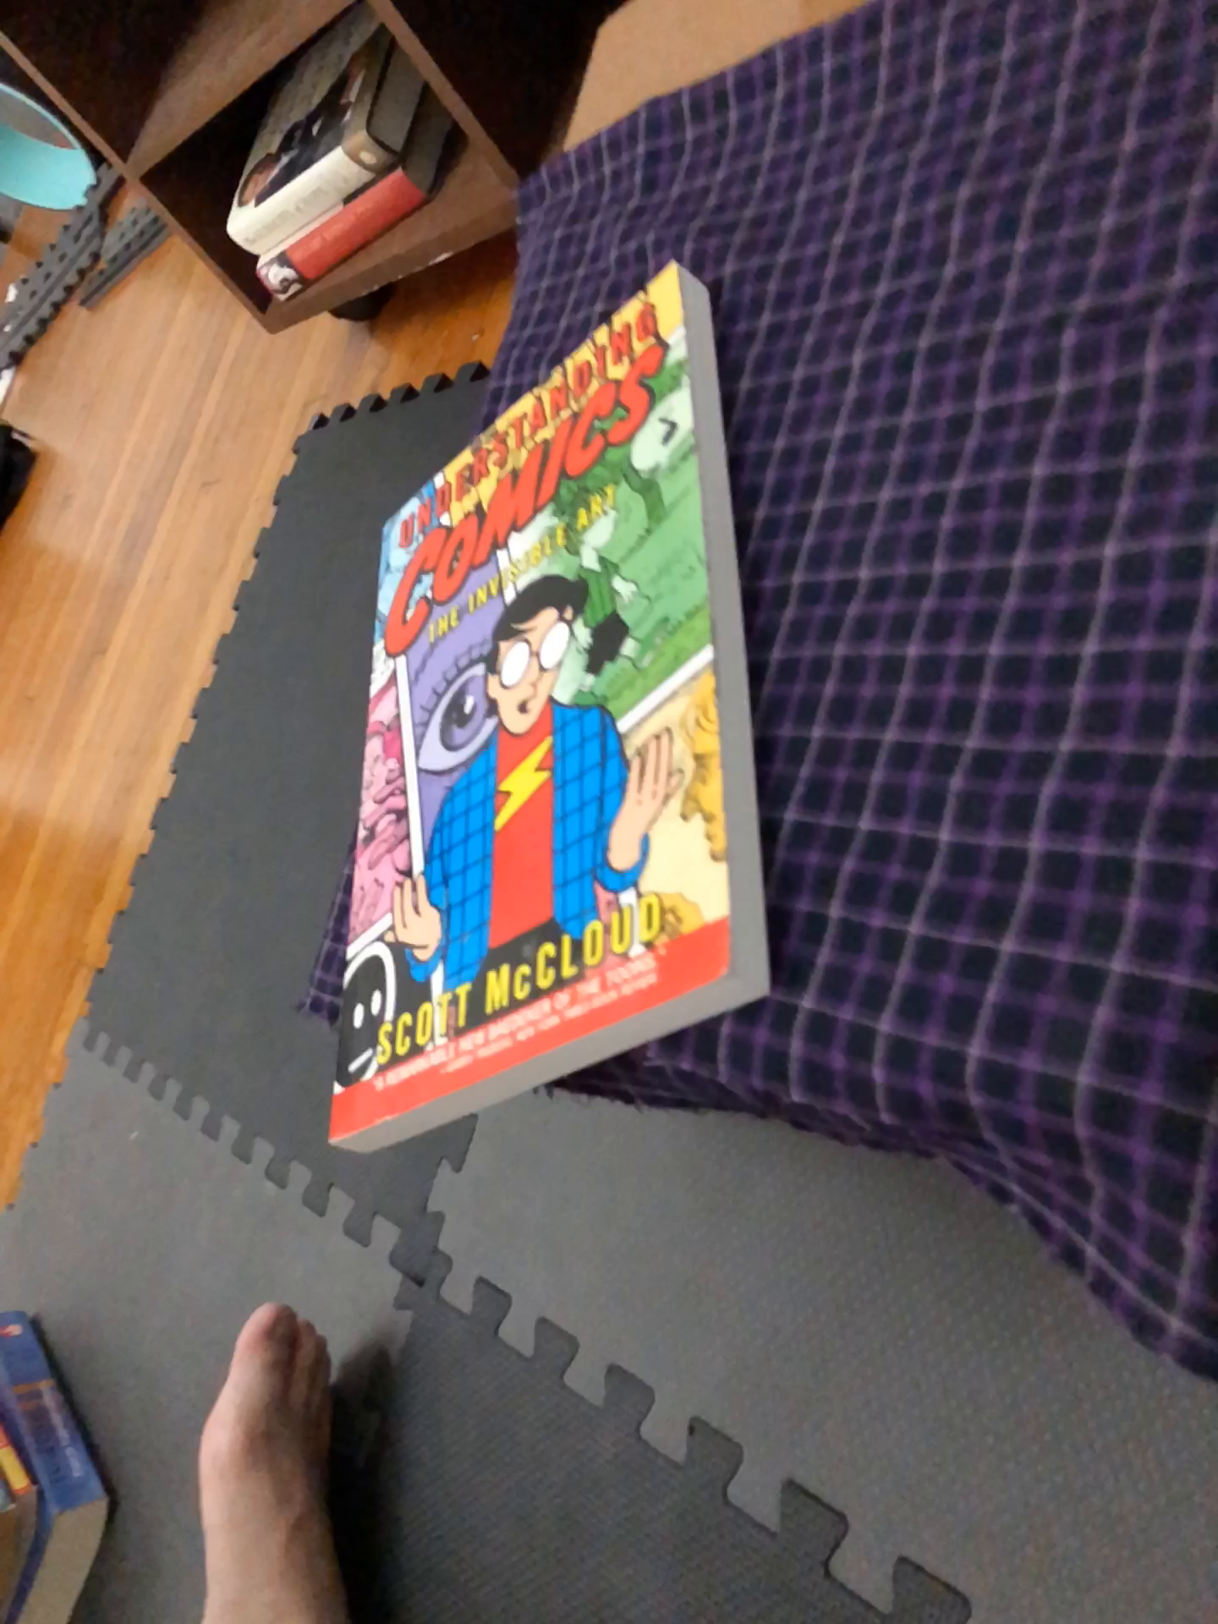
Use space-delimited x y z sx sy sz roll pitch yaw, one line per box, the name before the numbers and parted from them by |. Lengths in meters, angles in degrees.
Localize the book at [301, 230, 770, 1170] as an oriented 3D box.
book | -0.031 -0.040 0.429 0.170 0.020 0.271 -29 49 38
